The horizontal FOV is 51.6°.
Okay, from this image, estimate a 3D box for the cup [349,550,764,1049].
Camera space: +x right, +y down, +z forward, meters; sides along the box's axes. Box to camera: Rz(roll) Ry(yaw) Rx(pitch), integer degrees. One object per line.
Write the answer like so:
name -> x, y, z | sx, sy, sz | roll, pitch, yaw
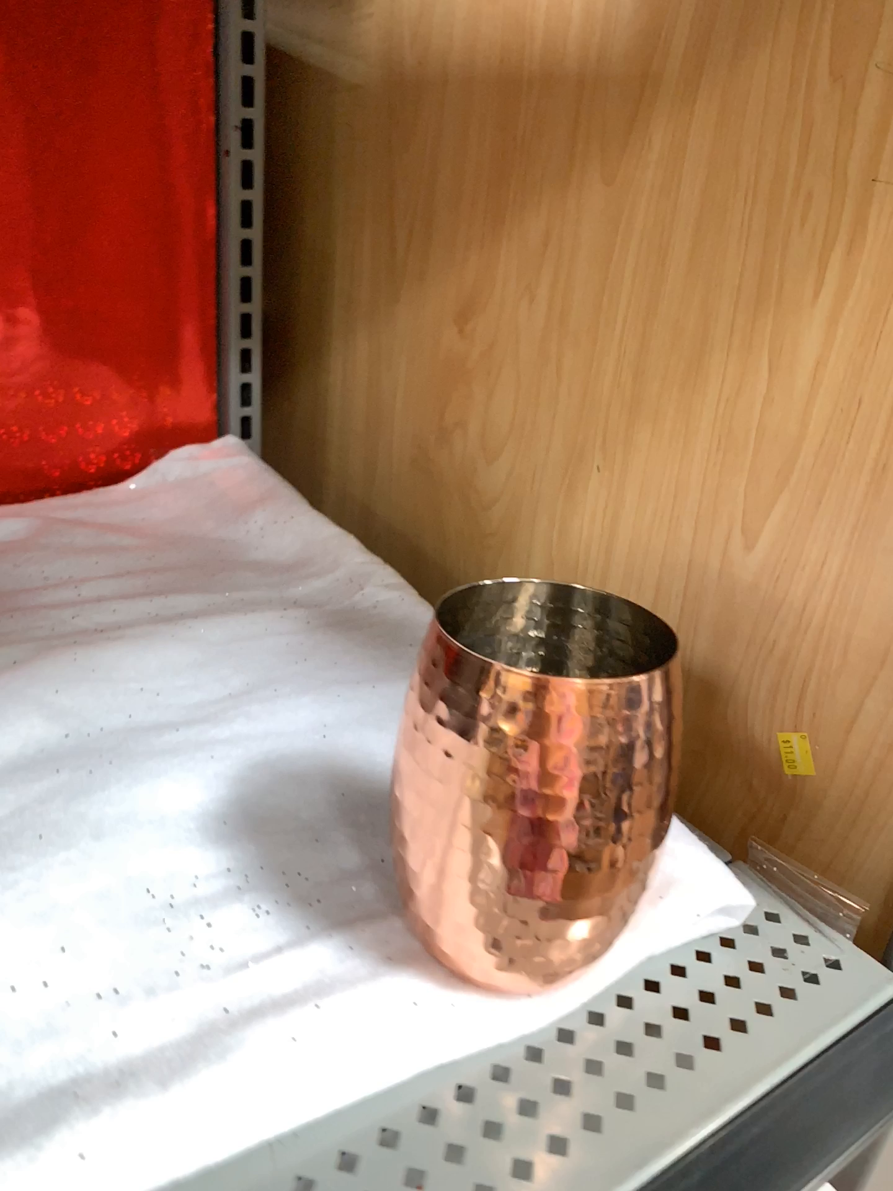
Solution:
cup -> 0.026, 0.054, 0.278 | 0.078, 0.104, 0.080 | 5, 25, -2
